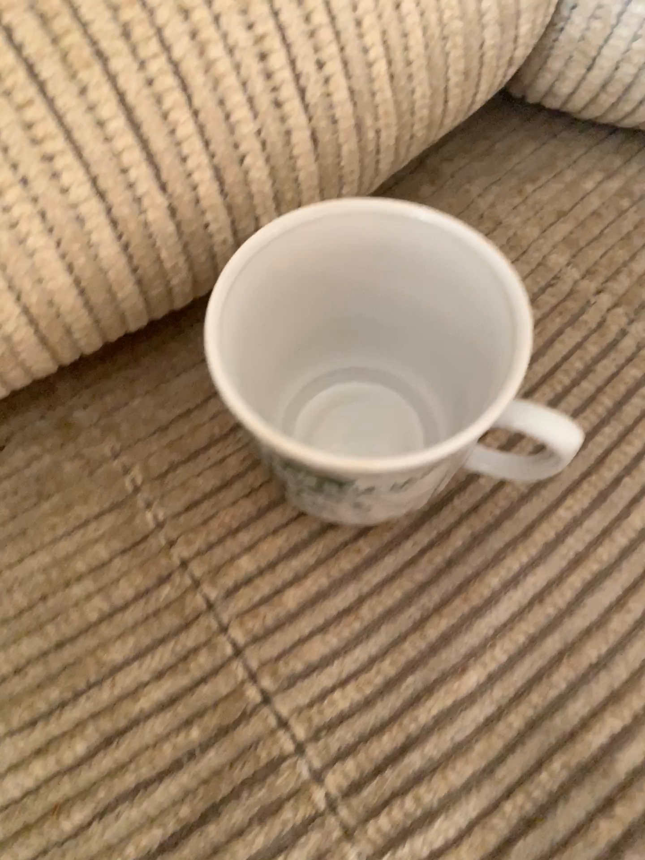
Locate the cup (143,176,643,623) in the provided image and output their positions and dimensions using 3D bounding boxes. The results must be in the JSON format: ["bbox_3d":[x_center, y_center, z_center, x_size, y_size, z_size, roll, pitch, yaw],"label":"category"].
[{"bbox_3d":[0.026,-0.010,0.208,0.112,0.077,0.096,10,61,13],"label":"cup"}]
